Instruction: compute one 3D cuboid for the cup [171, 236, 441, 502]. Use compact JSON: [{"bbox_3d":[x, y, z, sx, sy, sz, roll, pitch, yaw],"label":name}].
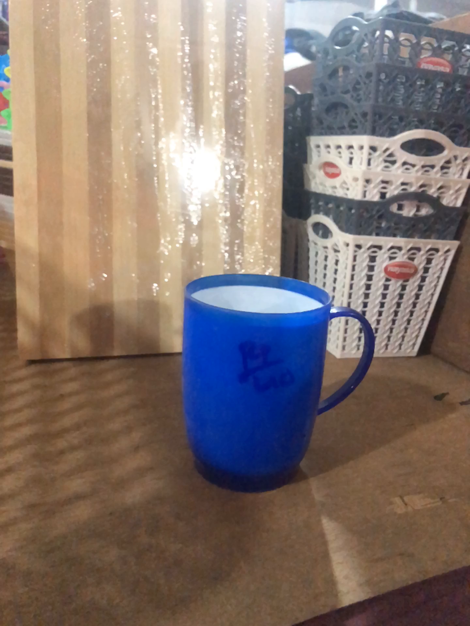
[{"bbox_3d":[0.027,0.022,0.269,0.110,0.110,0.070,-1,18,-14],"label":"cup"}]
